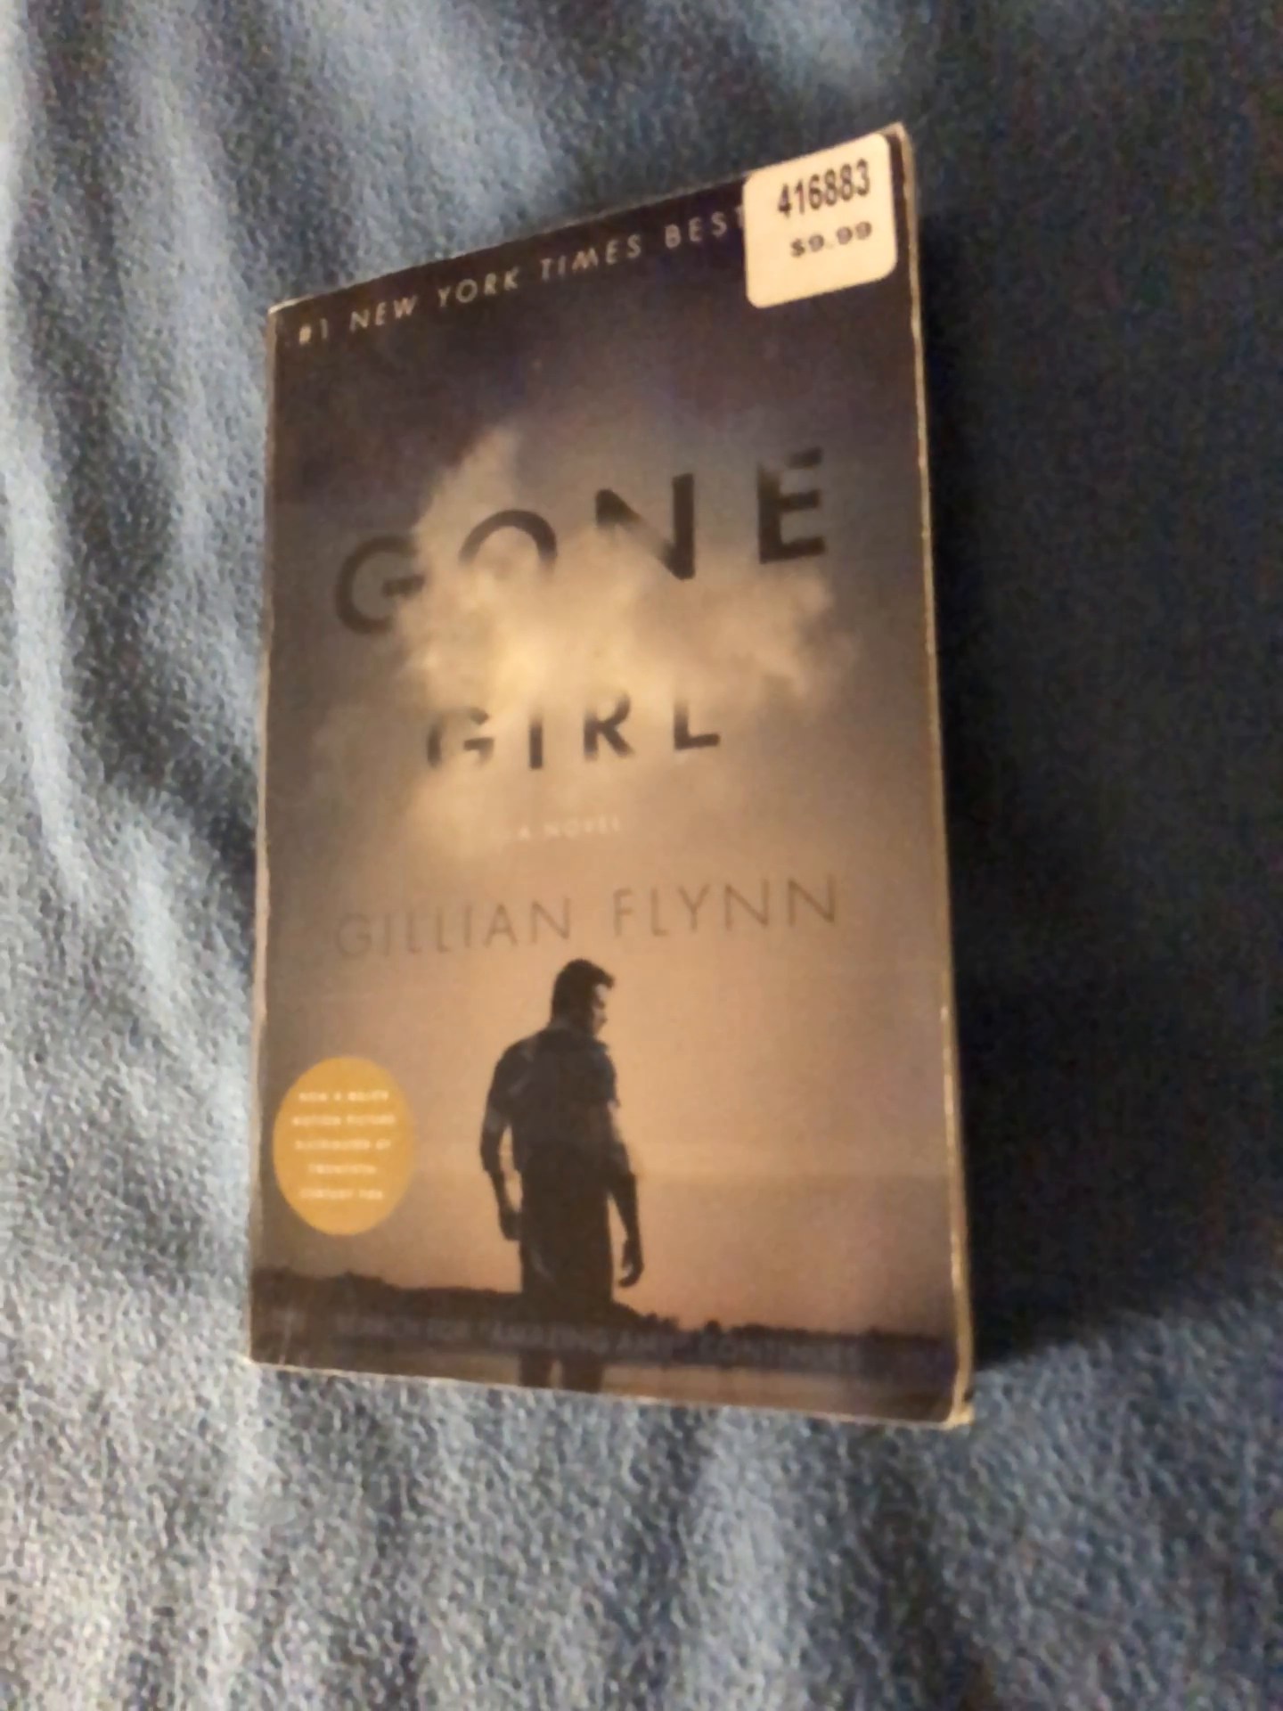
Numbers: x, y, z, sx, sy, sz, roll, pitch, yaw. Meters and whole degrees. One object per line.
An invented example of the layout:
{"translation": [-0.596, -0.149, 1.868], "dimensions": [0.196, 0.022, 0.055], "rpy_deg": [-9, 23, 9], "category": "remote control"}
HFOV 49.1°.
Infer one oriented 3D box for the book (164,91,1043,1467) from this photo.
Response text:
{"translation": [-0.010, -0.011, 0.246], "dimensions": [0.140, 0.040, 0.200], "rpy_deg": [-4, 80, 23], "category": "book"}
